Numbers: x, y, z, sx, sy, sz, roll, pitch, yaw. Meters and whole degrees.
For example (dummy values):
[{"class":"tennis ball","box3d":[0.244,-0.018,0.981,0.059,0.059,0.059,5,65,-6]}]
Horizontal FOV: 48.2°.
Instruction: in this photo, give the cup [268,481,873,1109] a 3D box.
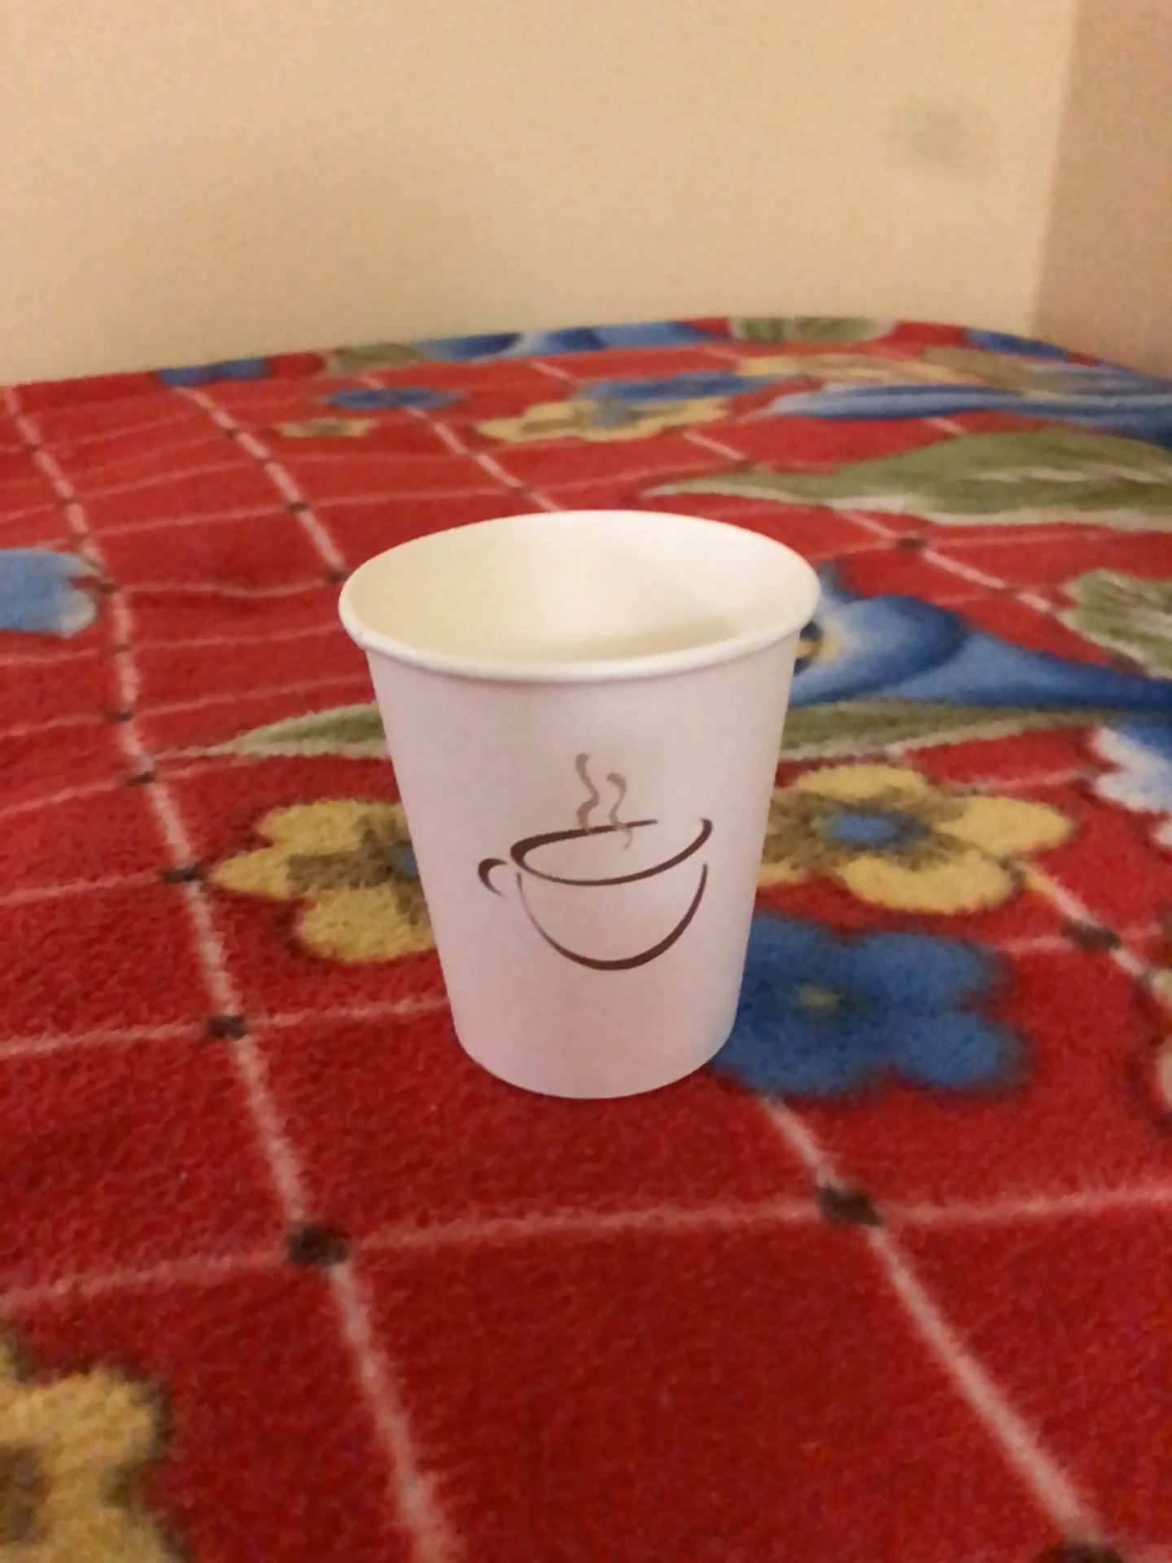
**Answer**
[{"class":"cup","box3d":[-0.002,0.000,0.252,0.090,0.090,0.080,-1,31,0]}]
